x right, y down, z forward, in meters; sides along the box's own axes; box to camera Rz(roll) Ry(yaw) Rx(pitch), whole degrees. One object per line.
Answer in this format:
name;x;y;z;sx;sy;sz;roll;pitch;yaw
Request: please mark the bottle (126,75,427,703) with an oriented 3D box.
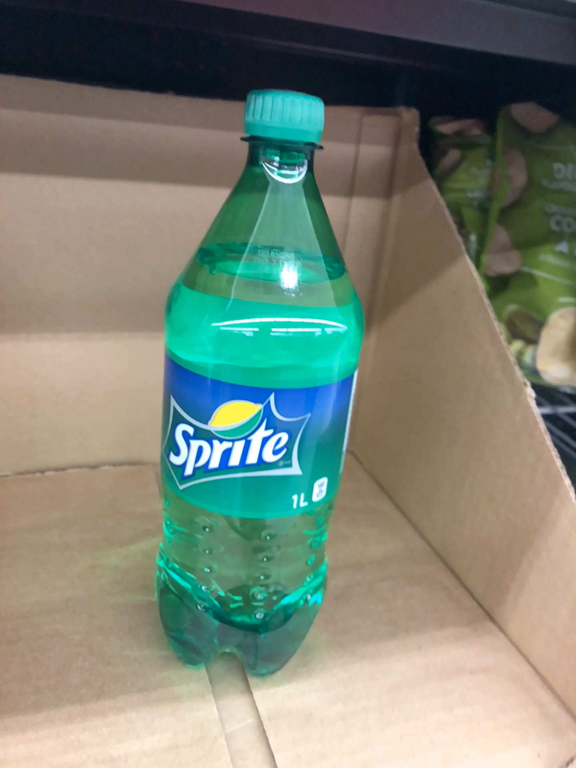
bottle;-0.012;0.007;0.286;0.090;0.248;0.091;6;23;-2
